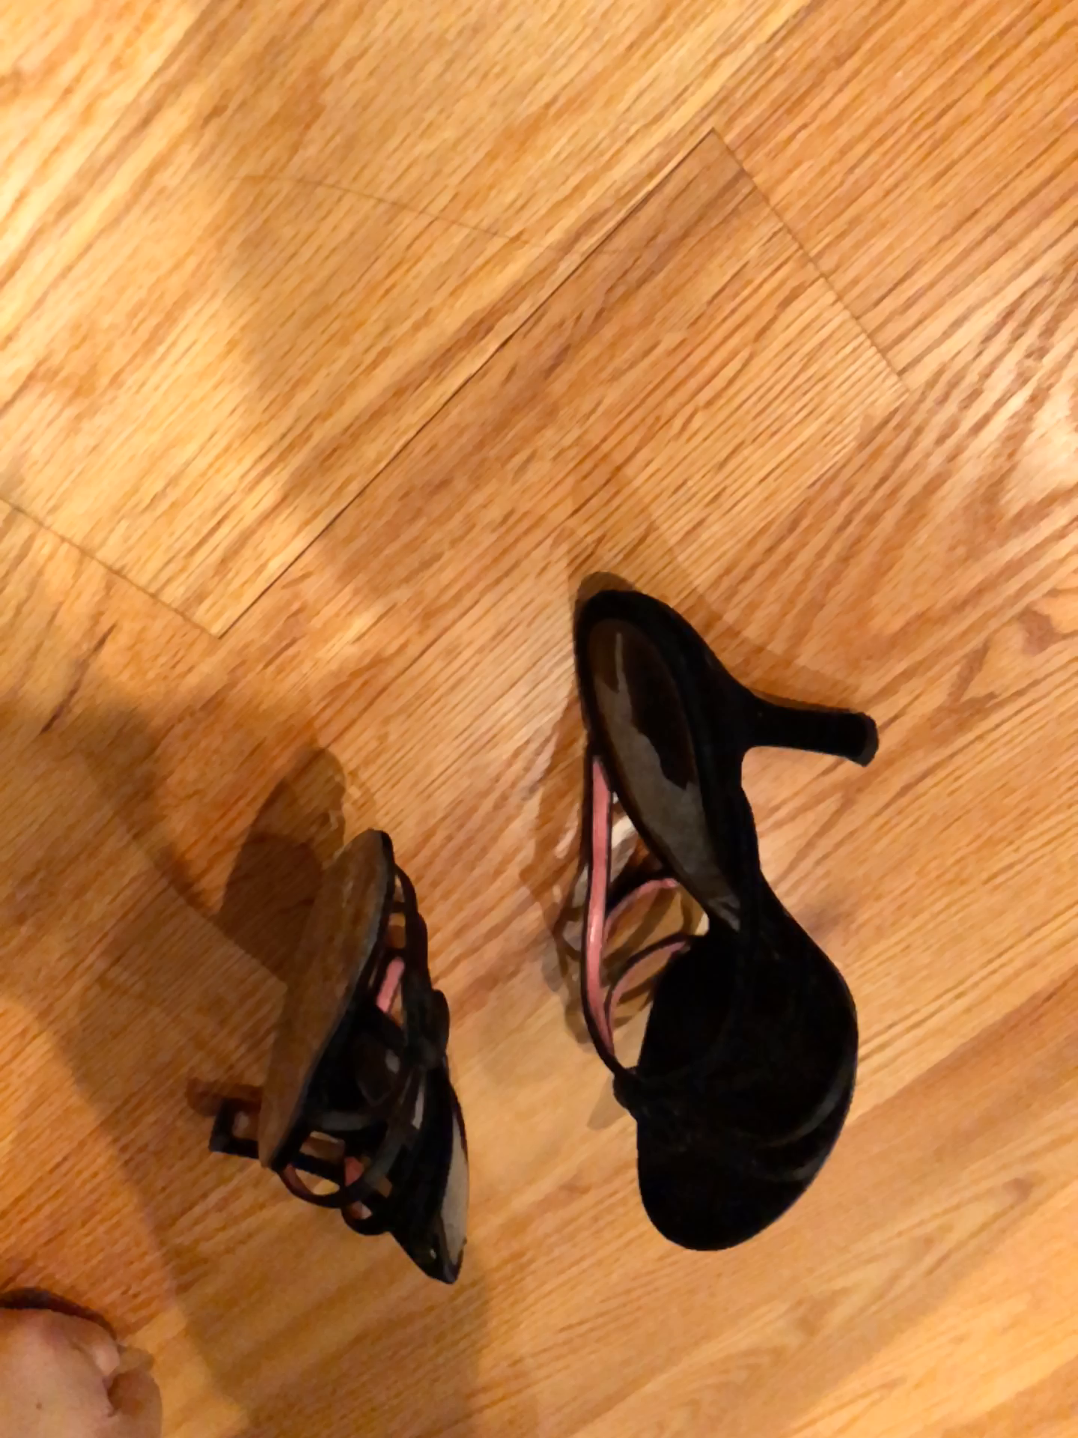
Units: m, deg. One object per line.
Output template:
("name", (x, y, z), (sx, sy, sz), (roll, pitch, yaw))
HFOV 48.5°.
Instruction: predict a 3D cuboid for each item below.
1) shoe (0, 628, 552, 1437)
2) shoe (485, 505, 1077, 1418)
("shoe", (-0.057, 0.110, 0.313), (0.082, 0.104, 0.236), (-12, 128, -9))
("shoe", (0.057, 0.072, 0.319), (0.102, 0.104, 0.216), (-12, 128, -7))
